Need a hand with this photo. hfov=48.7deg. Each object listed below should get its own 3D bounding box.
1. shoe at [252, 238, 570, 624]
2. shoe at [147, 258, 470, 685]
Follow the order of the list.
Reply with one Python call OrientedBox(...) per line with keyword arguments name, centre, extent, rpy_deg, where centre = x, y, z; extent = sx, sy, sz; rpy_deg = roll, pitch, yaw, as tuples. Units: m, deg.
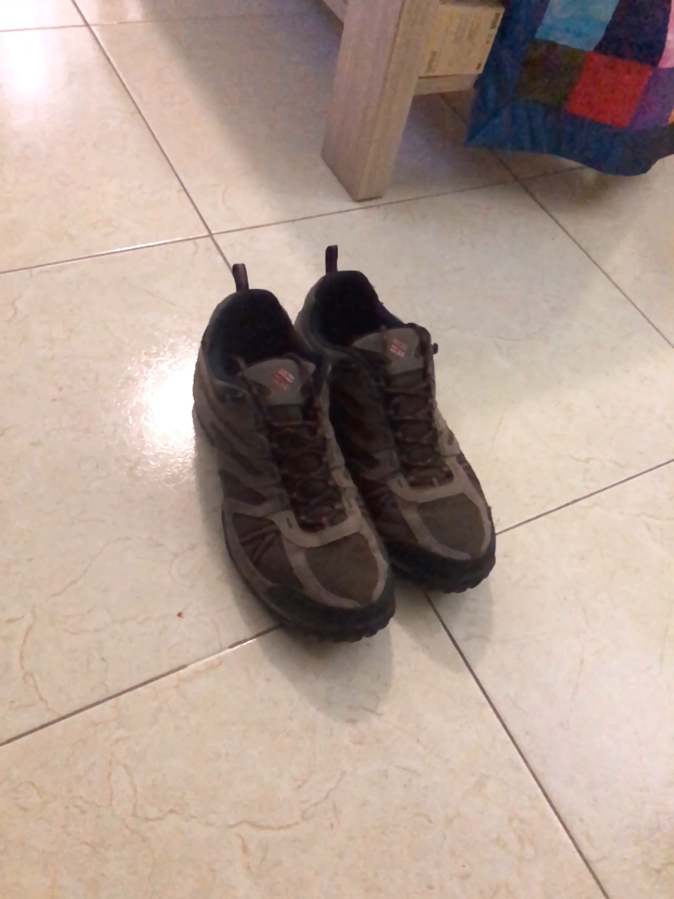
OrientedBox(name="shoe", centre=(0.044, -0.029, 0.653), extent=(0.120, 0.120, 0.311), rpy_deg=(-16, 60, -23))
OrientedBox(name="shoe", centre=(-0.042, 0.002, 0.593), extent=(0.130, 0.110, 0.311), rpy_deg=(-15, 59, -22))
